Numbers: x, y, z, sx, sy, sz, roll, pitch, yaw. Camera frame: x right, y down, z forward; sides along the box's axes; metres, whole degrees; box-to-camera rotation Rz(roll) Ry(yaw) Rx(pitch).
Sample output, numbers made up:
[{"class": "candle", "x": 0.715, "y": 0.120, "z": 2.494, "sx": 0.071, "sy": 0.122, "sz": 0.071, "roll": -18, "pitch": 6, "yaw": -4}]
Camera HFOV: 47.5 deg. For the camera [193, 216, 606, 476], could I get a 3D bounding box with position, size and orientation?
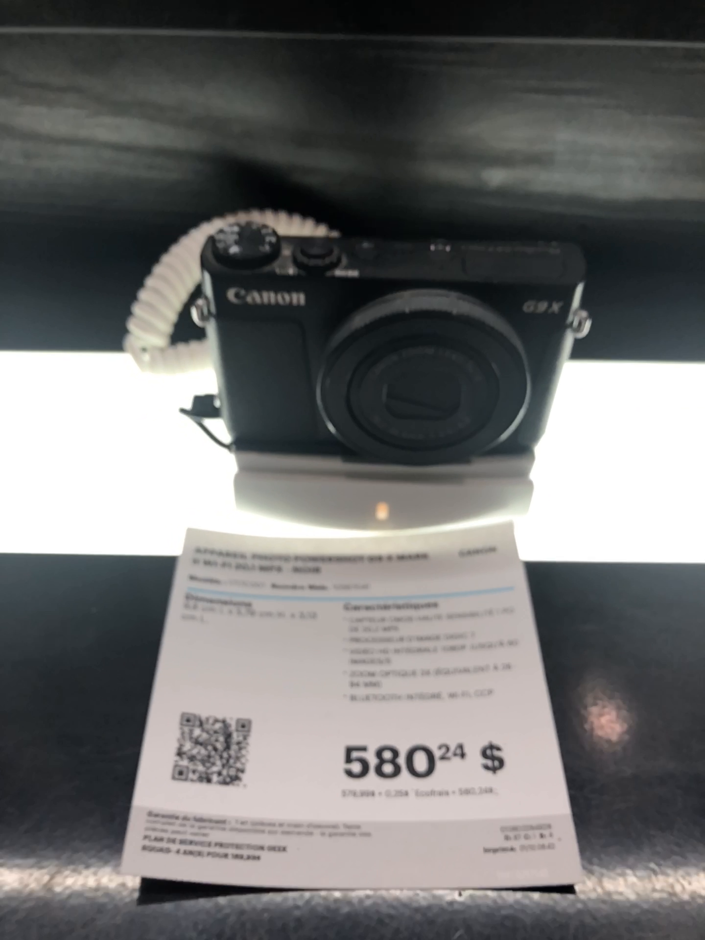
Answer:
[{"class": "camera", "x": 0.010, "y": -0.031, "z": 0.208, "sx": 0.092, "sy": 0.060, "sz": 0.026, "roll": 2, "pitch": 44, "yaw": 1}]
